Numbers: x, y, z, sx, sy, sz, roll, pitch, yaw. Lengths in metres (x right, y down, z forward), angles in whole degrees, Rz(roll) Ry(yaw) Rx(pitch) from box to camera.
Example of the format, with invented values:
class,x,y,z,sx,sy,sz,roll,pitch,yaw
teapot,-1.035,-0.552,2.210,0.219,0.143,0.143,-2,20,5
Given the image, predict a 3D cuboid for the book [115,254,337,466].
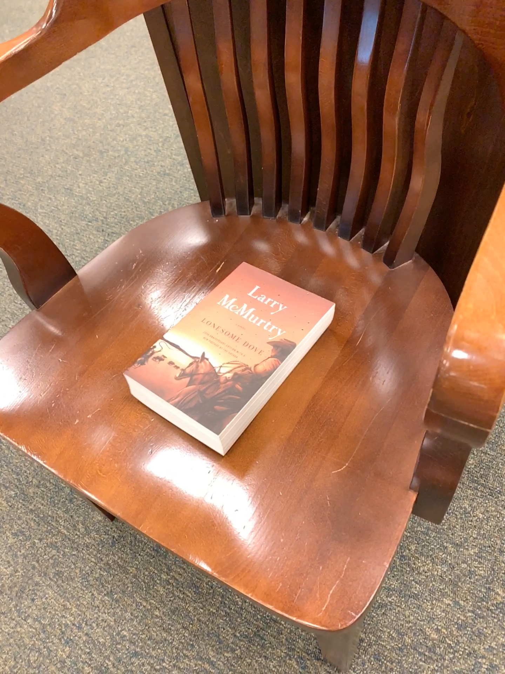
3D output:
class,x,y,z,sx,sy,sz,roll,pitch,yaw
book,-0.022,0.014,0.566,0.140,0.060,0.201,28,59,28
